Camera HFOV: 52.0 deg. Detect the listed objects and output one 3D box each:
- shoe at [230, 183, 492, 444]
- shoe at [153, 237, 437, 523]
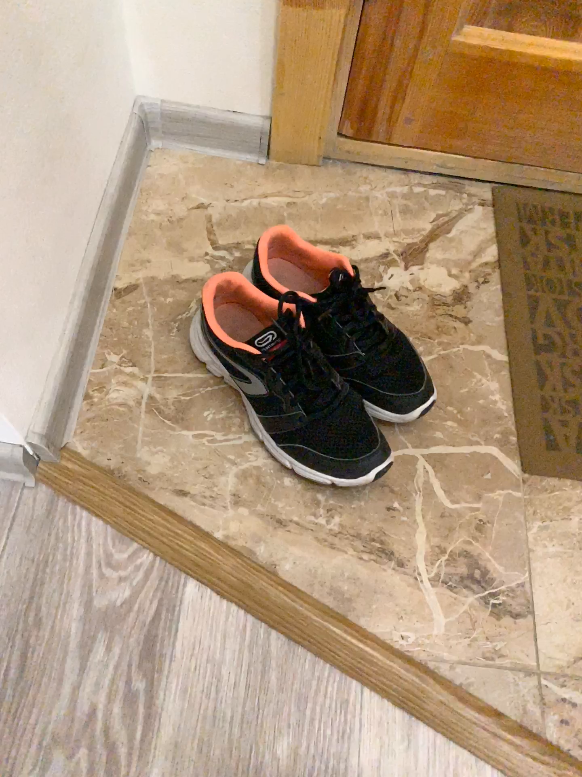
[{"bbox_3d":[0.058,-0.077,0.603,0.244,0.100,0.100,43,66,16],"label":"shoe"},{"bbox_3d":[-0.005,-0.010,0.564,0.250,0.100,0.100,43,66,16],"label":"shoe"}]
